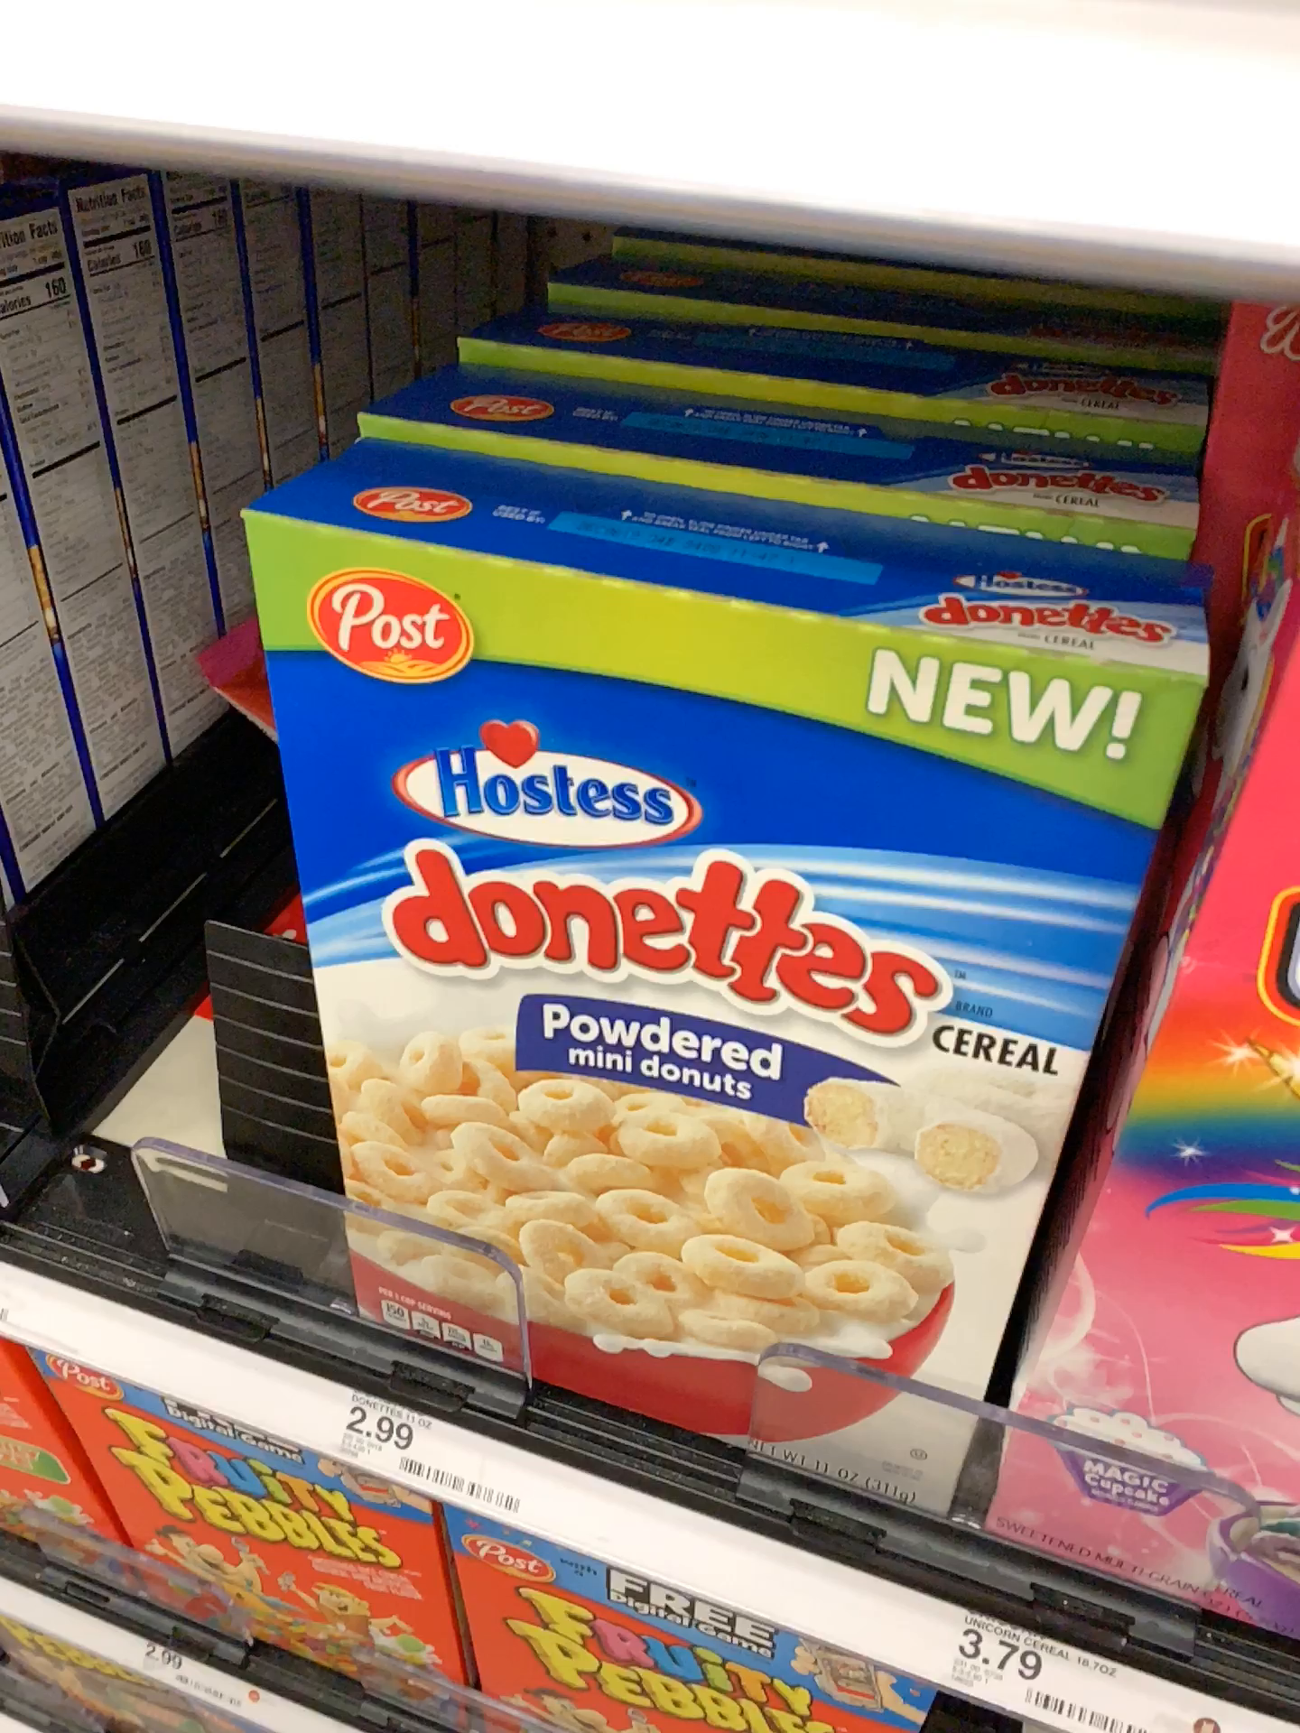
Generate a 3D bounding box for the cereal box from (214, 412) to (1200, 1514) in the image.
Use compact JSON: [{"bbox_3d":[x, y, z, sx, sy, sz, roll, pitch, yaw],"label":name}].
[{"bbox_3d":[0.006,0.039,0.349,0.190,0.269,0.060,13,37,14],"label":"cereal box"}]
